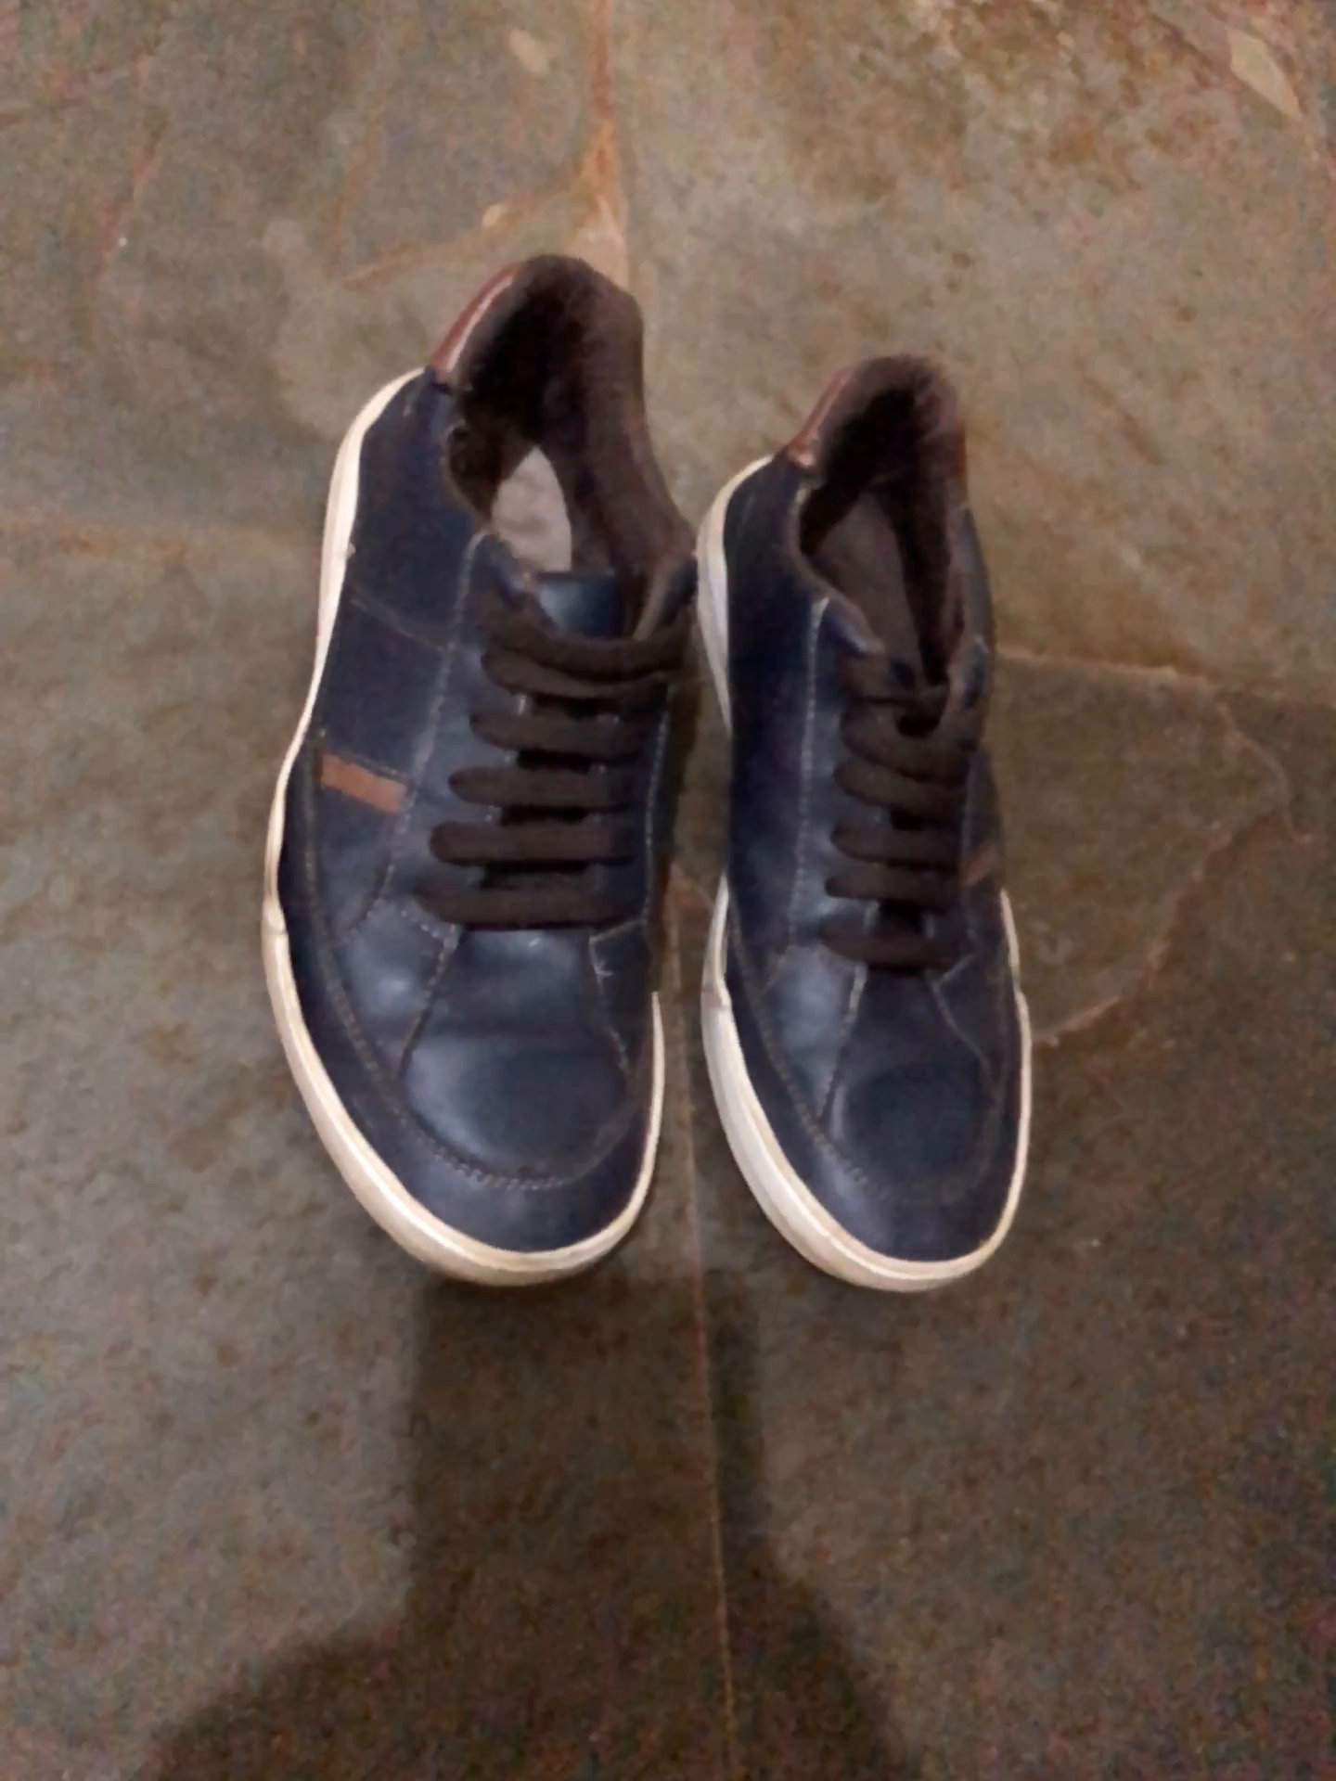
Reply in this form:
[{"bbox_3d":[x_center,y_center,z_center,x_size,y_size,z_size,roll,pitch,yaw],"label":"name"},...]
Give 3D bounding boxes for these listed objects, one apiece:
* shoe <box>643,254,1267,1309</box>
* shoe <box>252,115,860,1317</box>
[{"bbox_3d":[0.075,-0.029,0.455,0.110,0.099,0.291,2,72,-25],"label":"shoe"},{"bbox_3d":[-0.040,-0.041,0.403,0.120,0.099,0.291,4,71,-24],"label":"shoe"}]
